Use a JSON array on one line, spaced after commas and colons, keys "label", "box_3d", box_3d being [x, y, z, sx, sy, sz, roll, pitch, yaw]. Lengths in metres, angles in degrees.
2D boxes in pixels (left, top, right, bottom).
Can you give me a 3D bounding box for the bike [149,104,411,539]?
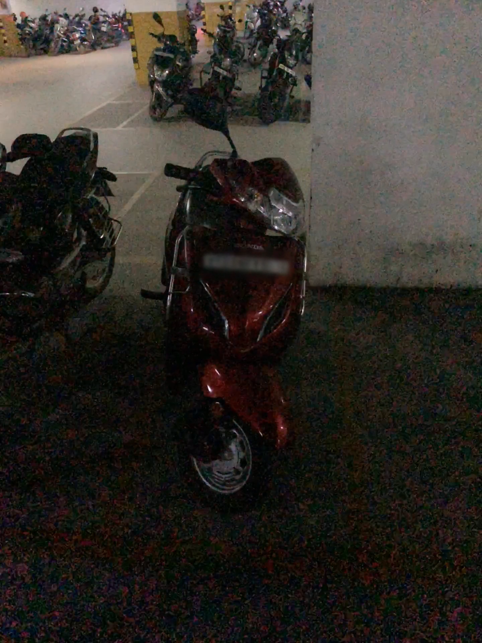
[{"label": "bike", "box_3d": [0.046, -0.114, 2.025, 0.487, 0.909, 1.397, -11, 43, -12]}]
